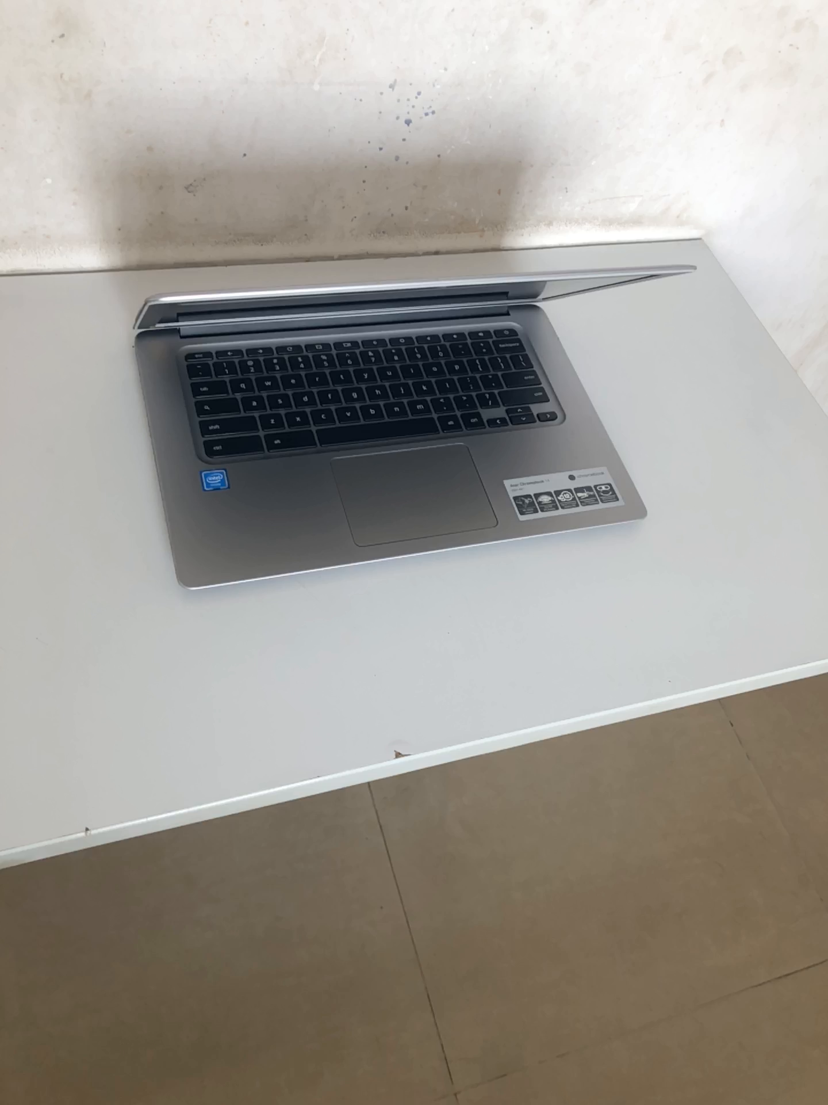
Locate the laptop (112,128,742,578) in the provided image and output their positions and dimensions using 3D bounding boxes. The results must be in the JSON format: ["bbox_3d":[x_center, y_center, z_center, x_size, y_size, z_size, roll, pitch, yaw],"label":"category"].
[{"bbox_3d":[-0.008,-0.142,0.599,0.326,0.155,0.222,-9,58,-18],"label":"laptop"}]
